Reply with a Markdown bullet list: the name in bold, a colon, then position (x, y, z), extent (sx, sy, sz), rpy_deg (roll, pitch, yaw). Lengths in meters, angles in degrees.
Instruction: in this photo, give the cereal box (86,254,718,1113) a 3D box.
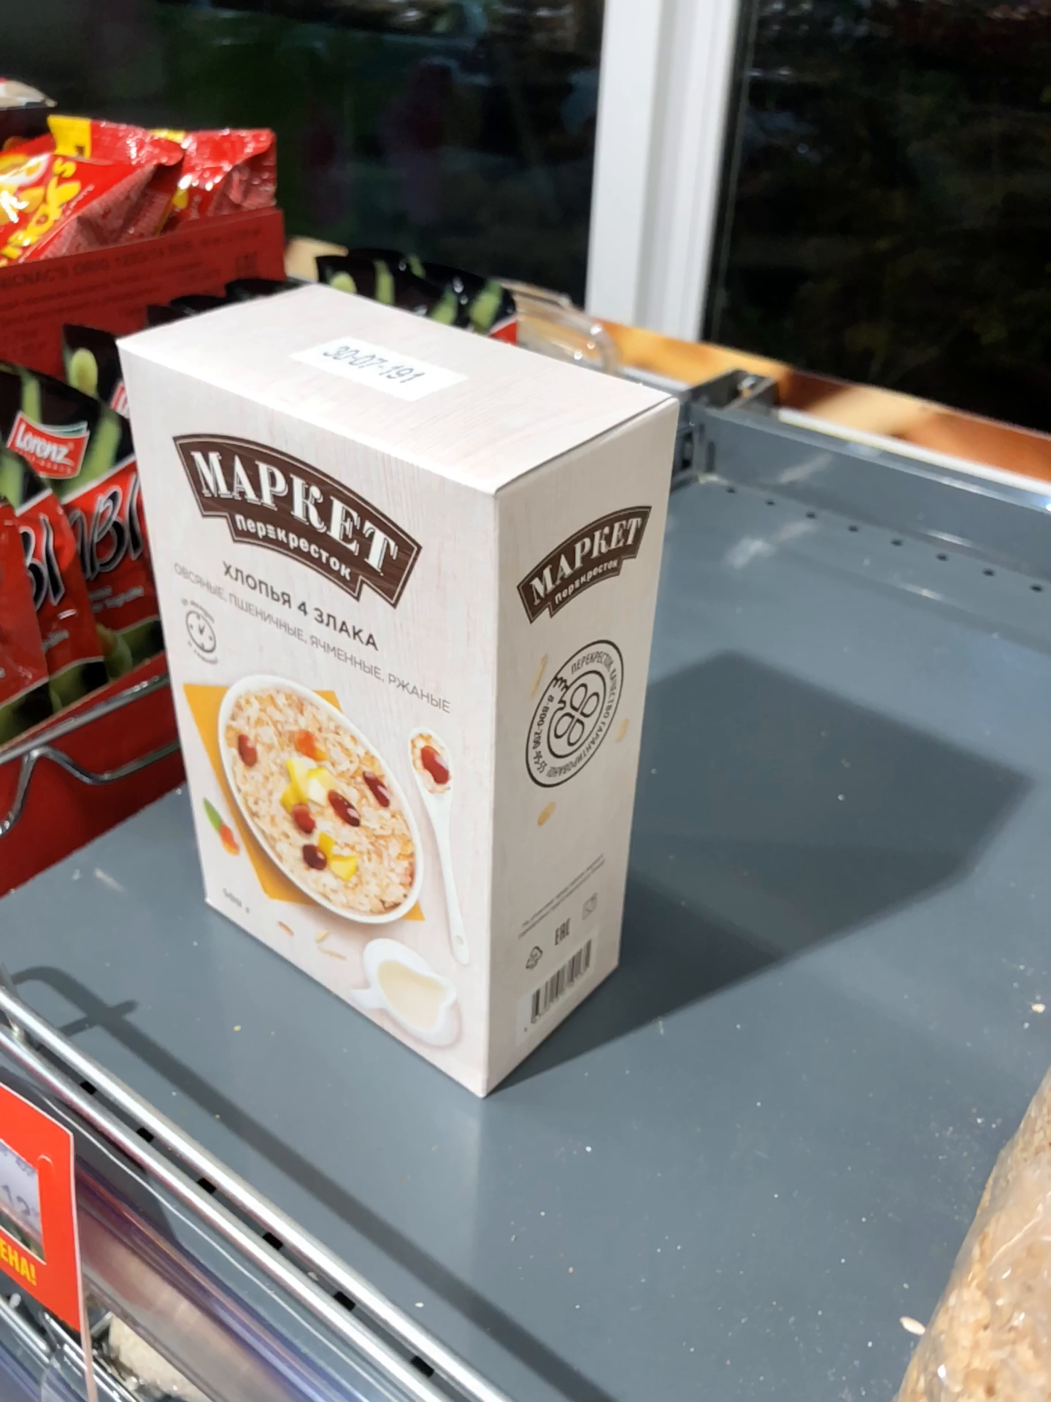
- **cereal box**: position (-0.034, -0.005, 0.320), extent (0.130, 0.189, 0.070), rpy_deg (26, 41, 29)
